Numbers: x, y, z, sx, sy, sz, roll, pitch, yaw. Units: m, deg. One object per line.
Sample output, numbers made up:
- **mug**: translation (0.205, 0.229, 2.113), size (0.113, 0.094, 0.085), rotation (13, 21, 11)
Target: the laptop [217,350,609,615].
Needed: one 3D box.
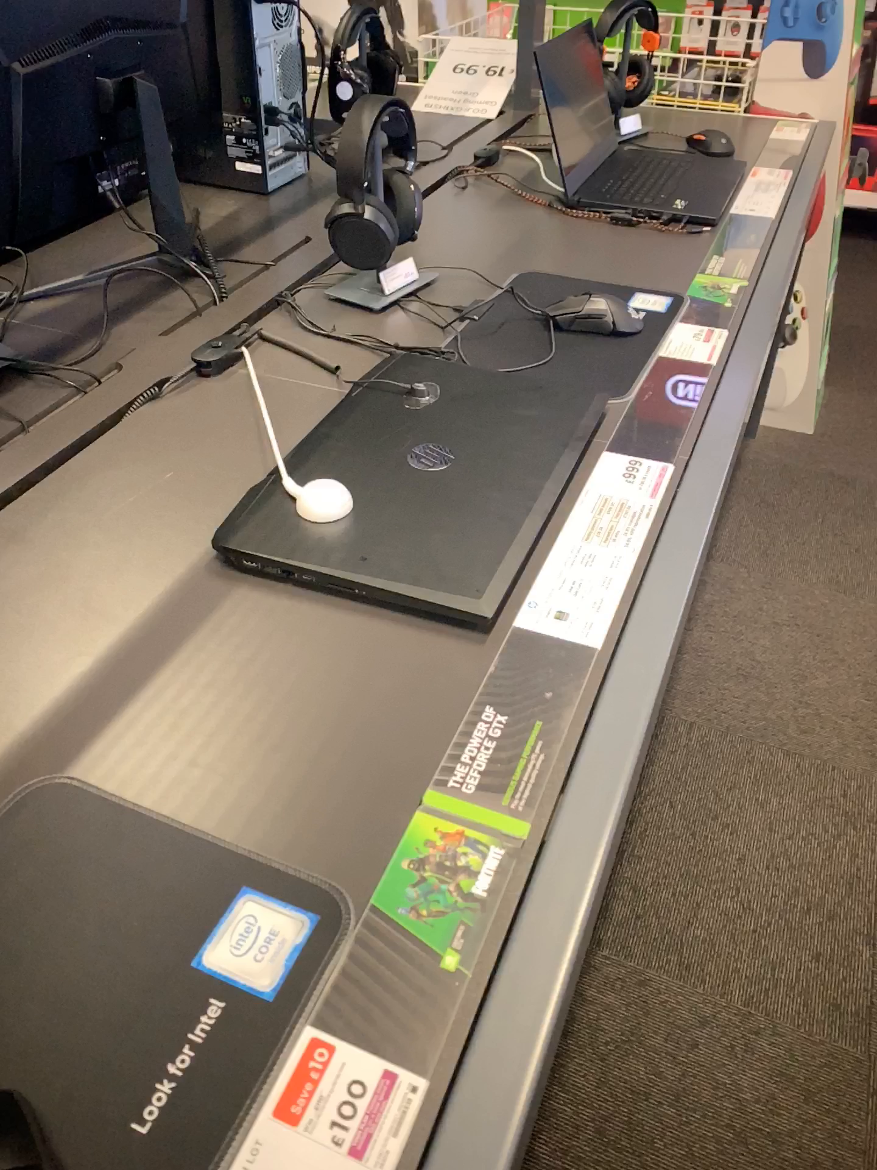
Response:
- **laptop**: translation (-0.004, -0.128, 0.894), size (0.256, 0.001, 0.397), rotation (15, 43, 17)
